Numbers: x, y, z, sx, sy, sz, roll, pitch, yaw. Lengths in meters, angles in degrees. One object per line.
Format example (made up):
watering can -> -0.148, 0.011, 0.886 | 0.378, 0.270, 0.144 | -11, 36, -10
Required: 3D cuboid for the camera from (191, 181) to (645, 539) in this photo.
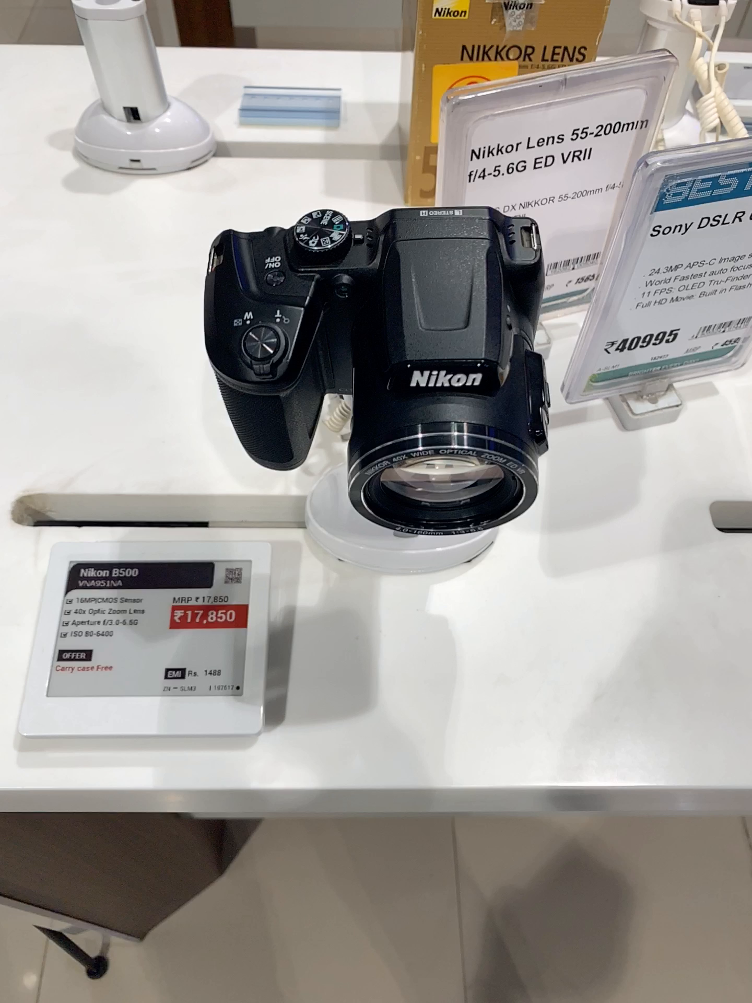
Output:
camera -> 0.010, -0.041, 0.242 | 0.112, 0.070, 0.084 | 0, 63, -1
